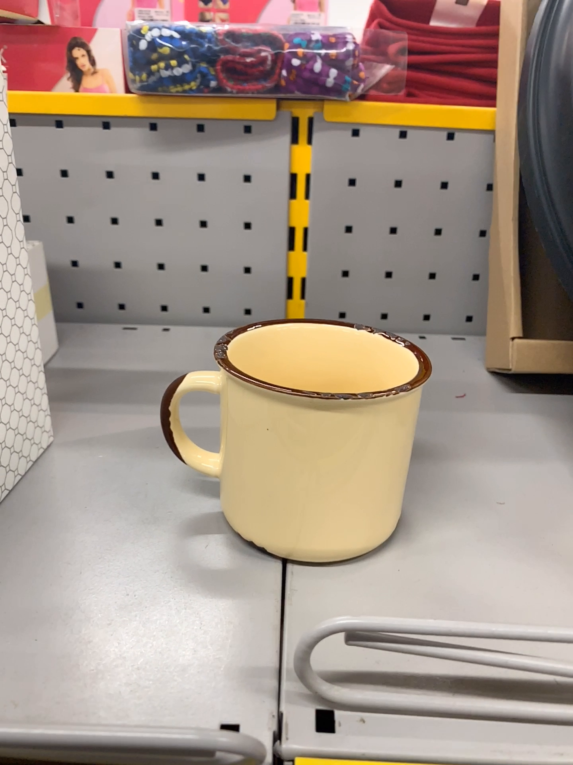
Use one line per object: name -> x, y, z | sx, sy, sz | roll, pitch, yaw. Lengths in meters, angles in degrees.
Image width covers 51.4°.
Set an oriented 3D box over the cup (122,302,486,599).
cup -> 0.008, 0.021, 0.253 | 0.120, 0.080, 0.090 | 4, 24, 5
